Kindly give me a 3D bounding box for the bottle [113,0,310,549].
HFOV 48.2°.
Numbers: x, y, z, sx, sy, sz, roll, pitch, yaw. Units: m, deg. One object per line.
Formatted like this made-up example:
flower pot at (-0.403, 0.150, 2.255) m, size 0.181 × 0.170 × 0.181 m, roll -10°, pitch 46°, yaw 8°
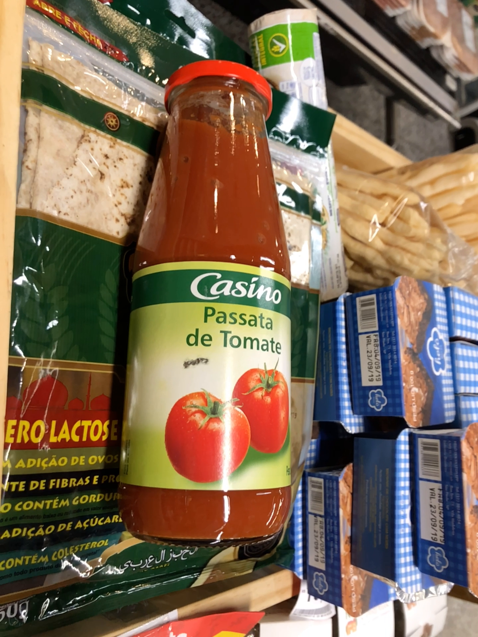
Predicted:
bottle at (-0.015, -0.025, 0.255) m, size 0.070 × 0.080 × 0.230 m, roll 3°, pitch 82°, yaw -18°
